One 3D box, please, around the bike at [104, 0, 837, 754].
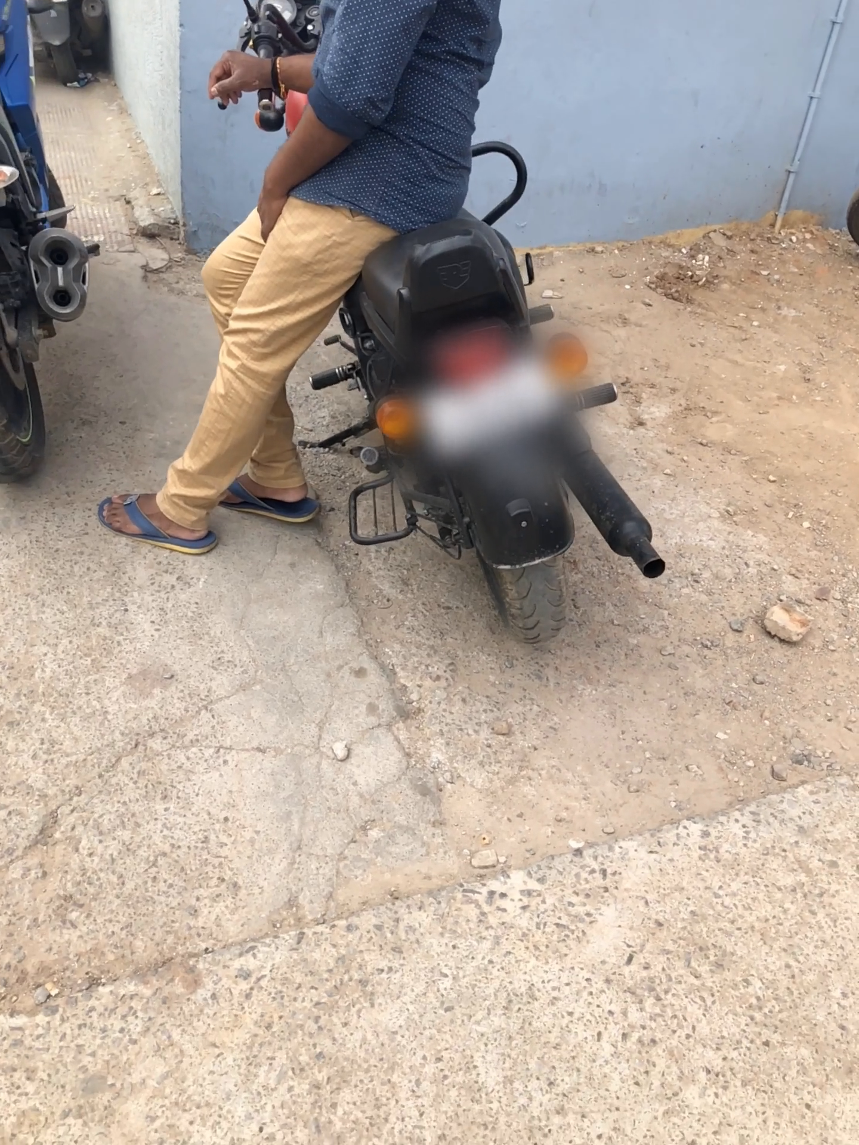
[{"bbox_3d":[-0.161,-0.795,1.849,0.778,1.245,1.545,-4,43,-18],"label":"bike"}]
